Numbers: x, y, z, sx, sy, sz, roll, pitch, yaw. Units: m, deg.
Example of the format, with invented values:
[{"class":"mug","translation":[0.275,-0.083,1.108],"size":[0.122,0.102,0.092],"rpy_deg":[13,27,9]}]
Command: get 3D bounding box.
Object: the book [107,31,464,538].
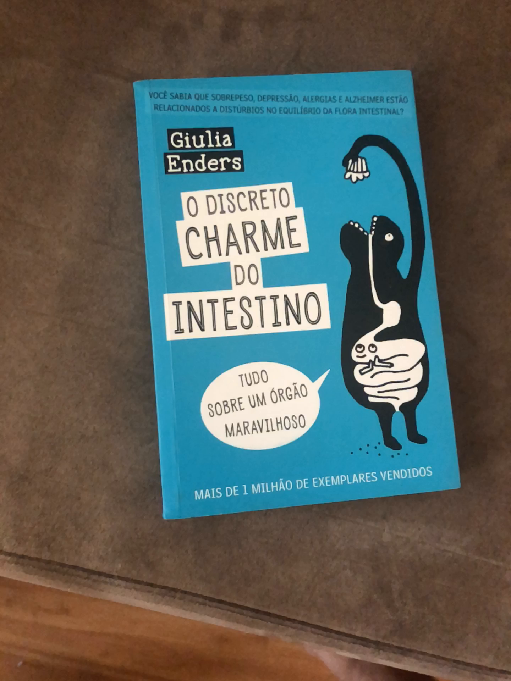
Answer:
[{"class":"book","translation":[0.010,-0.032,0.266],"size":[0.140,0.030,0.220],"rpy_deg":[-4,84,-6]}]
